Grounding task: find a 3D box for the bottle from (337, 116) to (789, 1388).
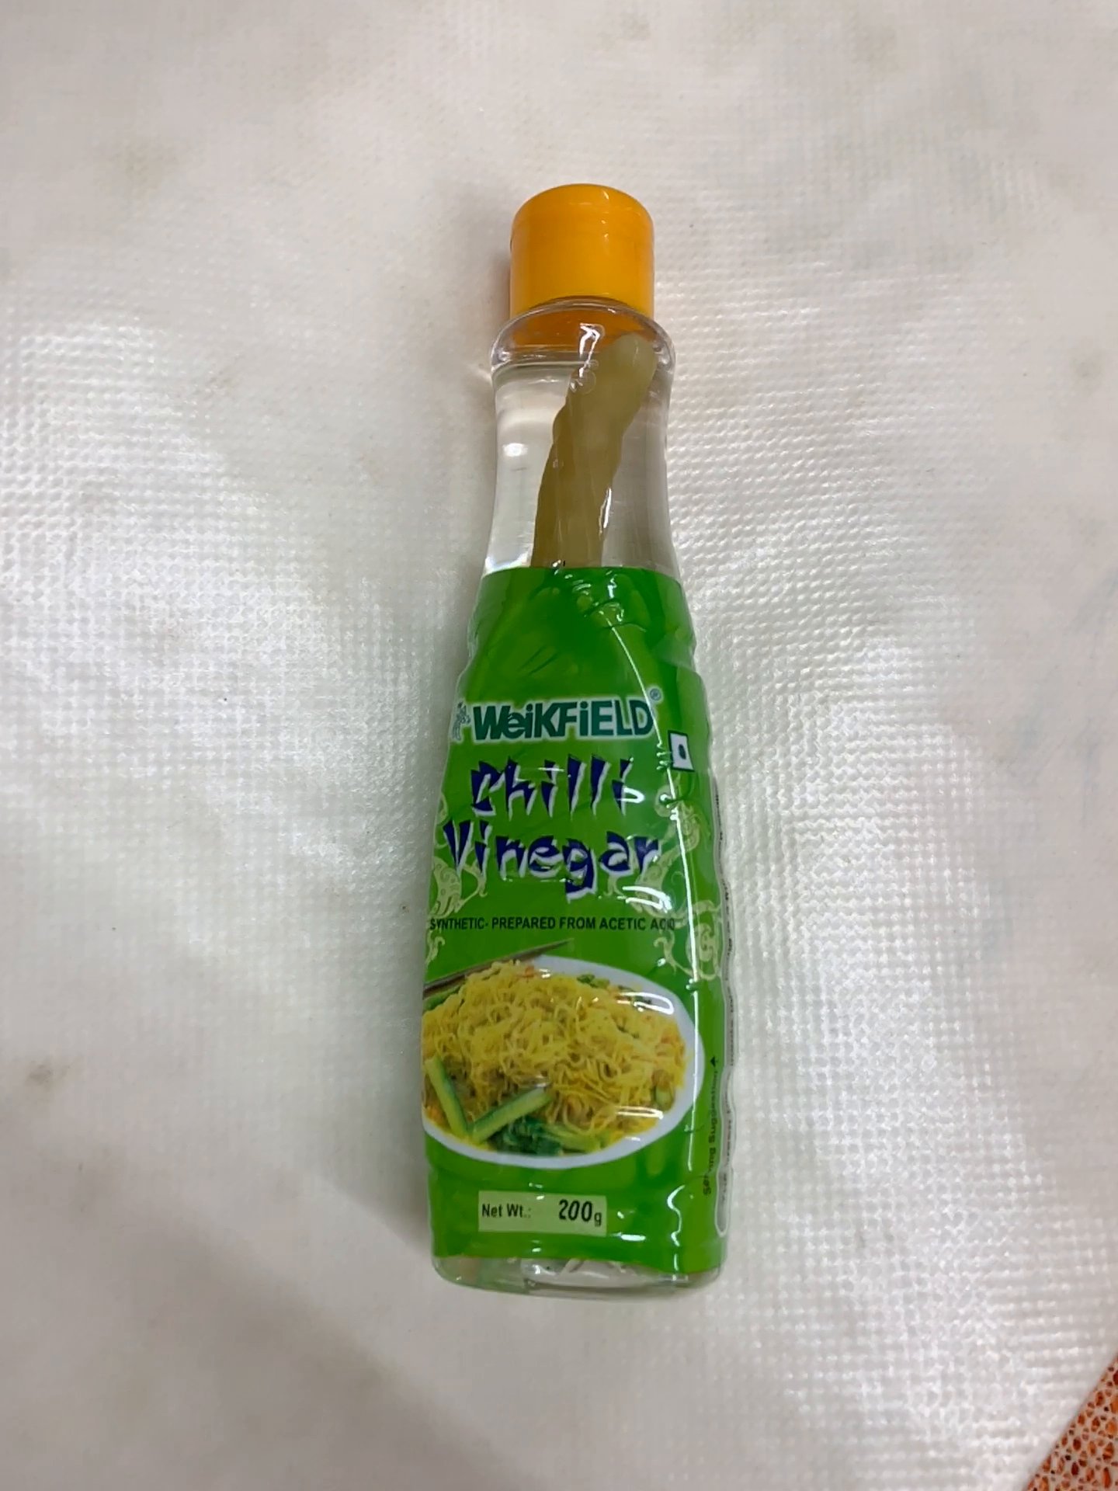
[{"bbox_3d":[0.005,-0.002,0.189,0.060,0.040,0.180,1,84,13],"label":"bottle"}]
